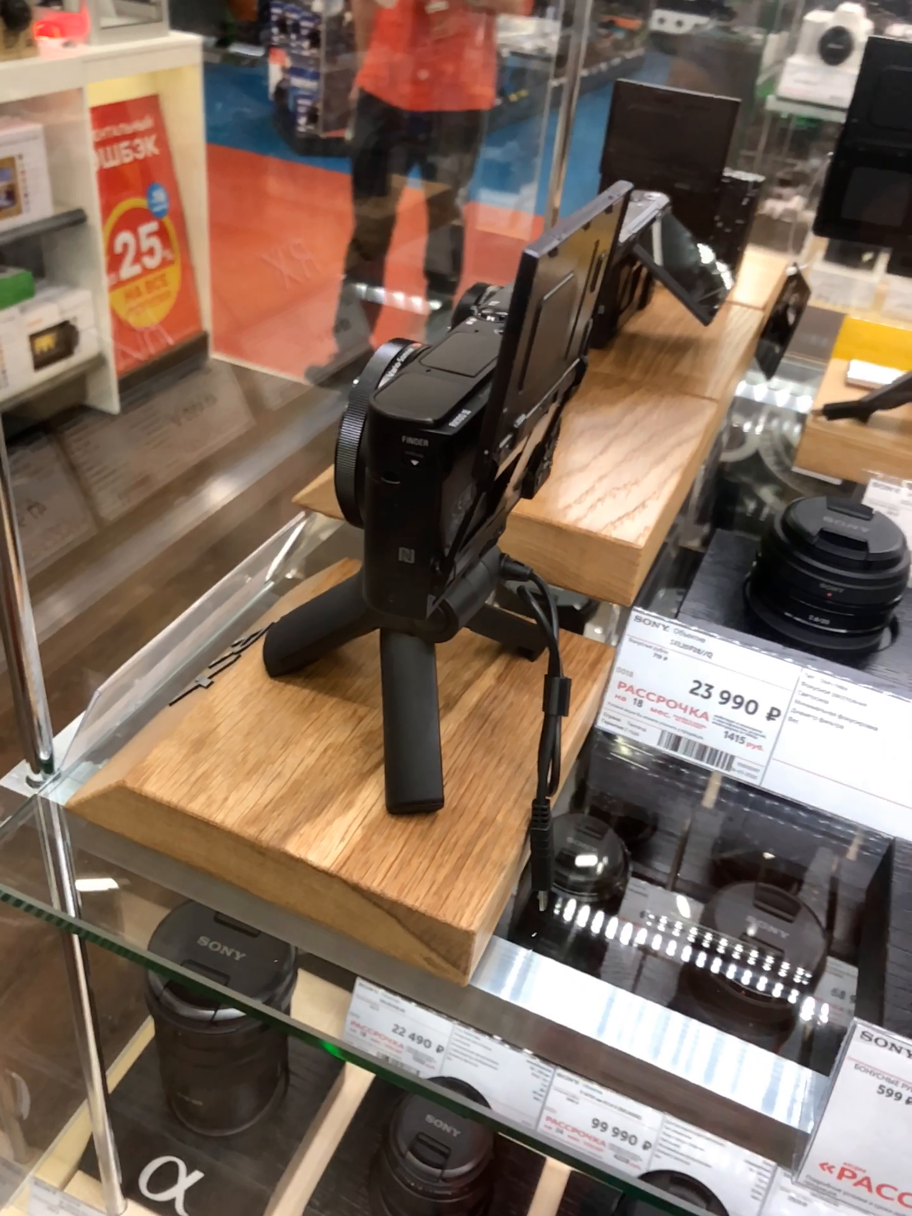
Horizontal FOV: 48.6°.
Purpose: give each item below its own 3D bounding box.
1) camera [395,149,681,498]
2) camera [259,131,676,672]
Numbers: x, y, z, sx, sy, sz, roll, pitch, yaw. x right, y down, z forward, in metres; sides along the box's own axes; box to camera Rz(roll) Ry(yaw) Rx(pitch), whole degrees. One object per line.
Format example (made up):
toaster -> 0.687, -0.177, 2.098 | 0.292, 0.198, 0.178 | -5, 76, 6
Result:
camera -> 0.034, -0.120, 0.413 | 0.069, 0.097, 0.109 | 19, 37, 16
camera -> 0.004, -0.061, 0.270 | 0.062, 0.097, 0.109 | 19, 37, 16
